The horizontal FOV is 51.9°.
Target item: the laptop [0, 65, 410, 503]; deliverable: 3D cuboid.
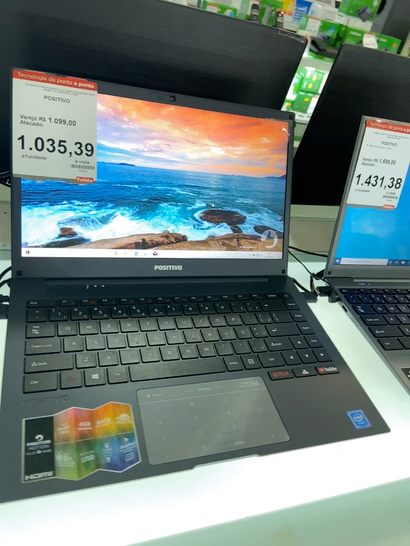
[{"bbox_3d":[-0.011,-0.032,0.416,0.334,0.174,0.355,0,39,-21],"label":"laptop"}]
